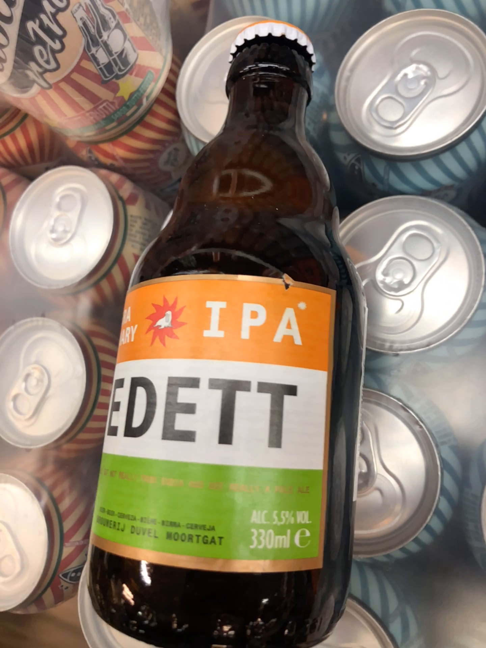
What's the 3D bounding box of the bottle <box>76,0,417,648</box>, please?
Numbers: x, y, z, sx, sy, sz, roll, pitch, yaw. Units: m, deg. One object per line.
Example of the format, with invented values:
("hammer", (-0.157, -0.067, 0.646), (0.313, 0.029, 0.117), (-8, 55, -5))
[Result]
("bottle", (0.010, -0.015, 0.159), (0.070, 0.060, 0.190), (1, 81, 21))
